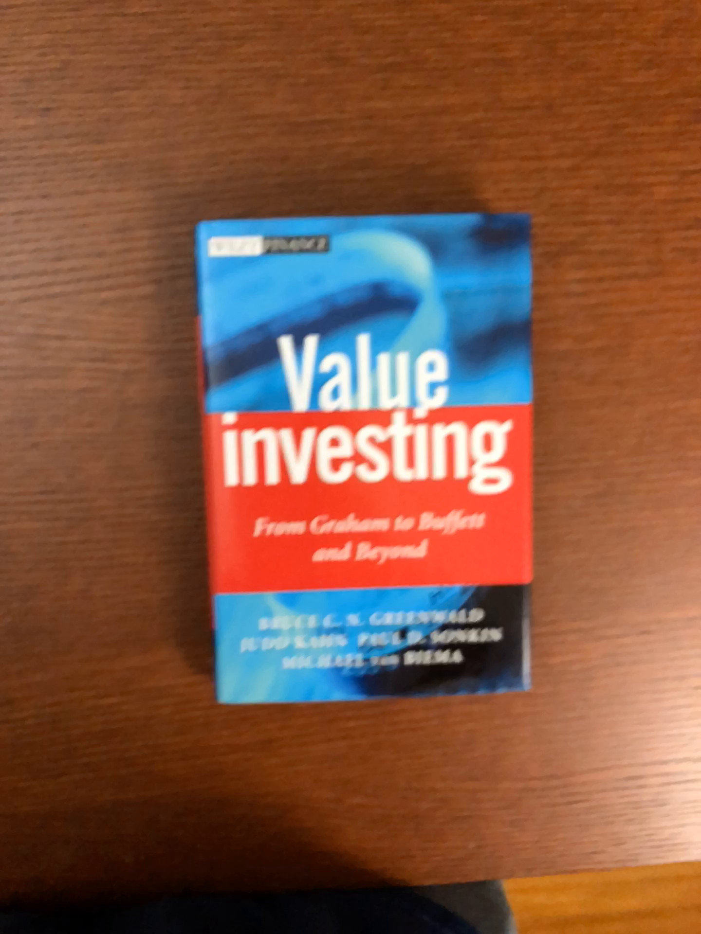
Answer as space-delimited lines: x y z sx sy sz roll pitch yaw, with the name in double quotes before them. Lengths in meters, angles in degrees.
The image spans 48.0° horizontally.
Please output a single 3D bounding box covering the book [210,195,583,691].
"book" 0.023 -0.010 0.378 0.170 0.020 0.230 -1 96 -2
